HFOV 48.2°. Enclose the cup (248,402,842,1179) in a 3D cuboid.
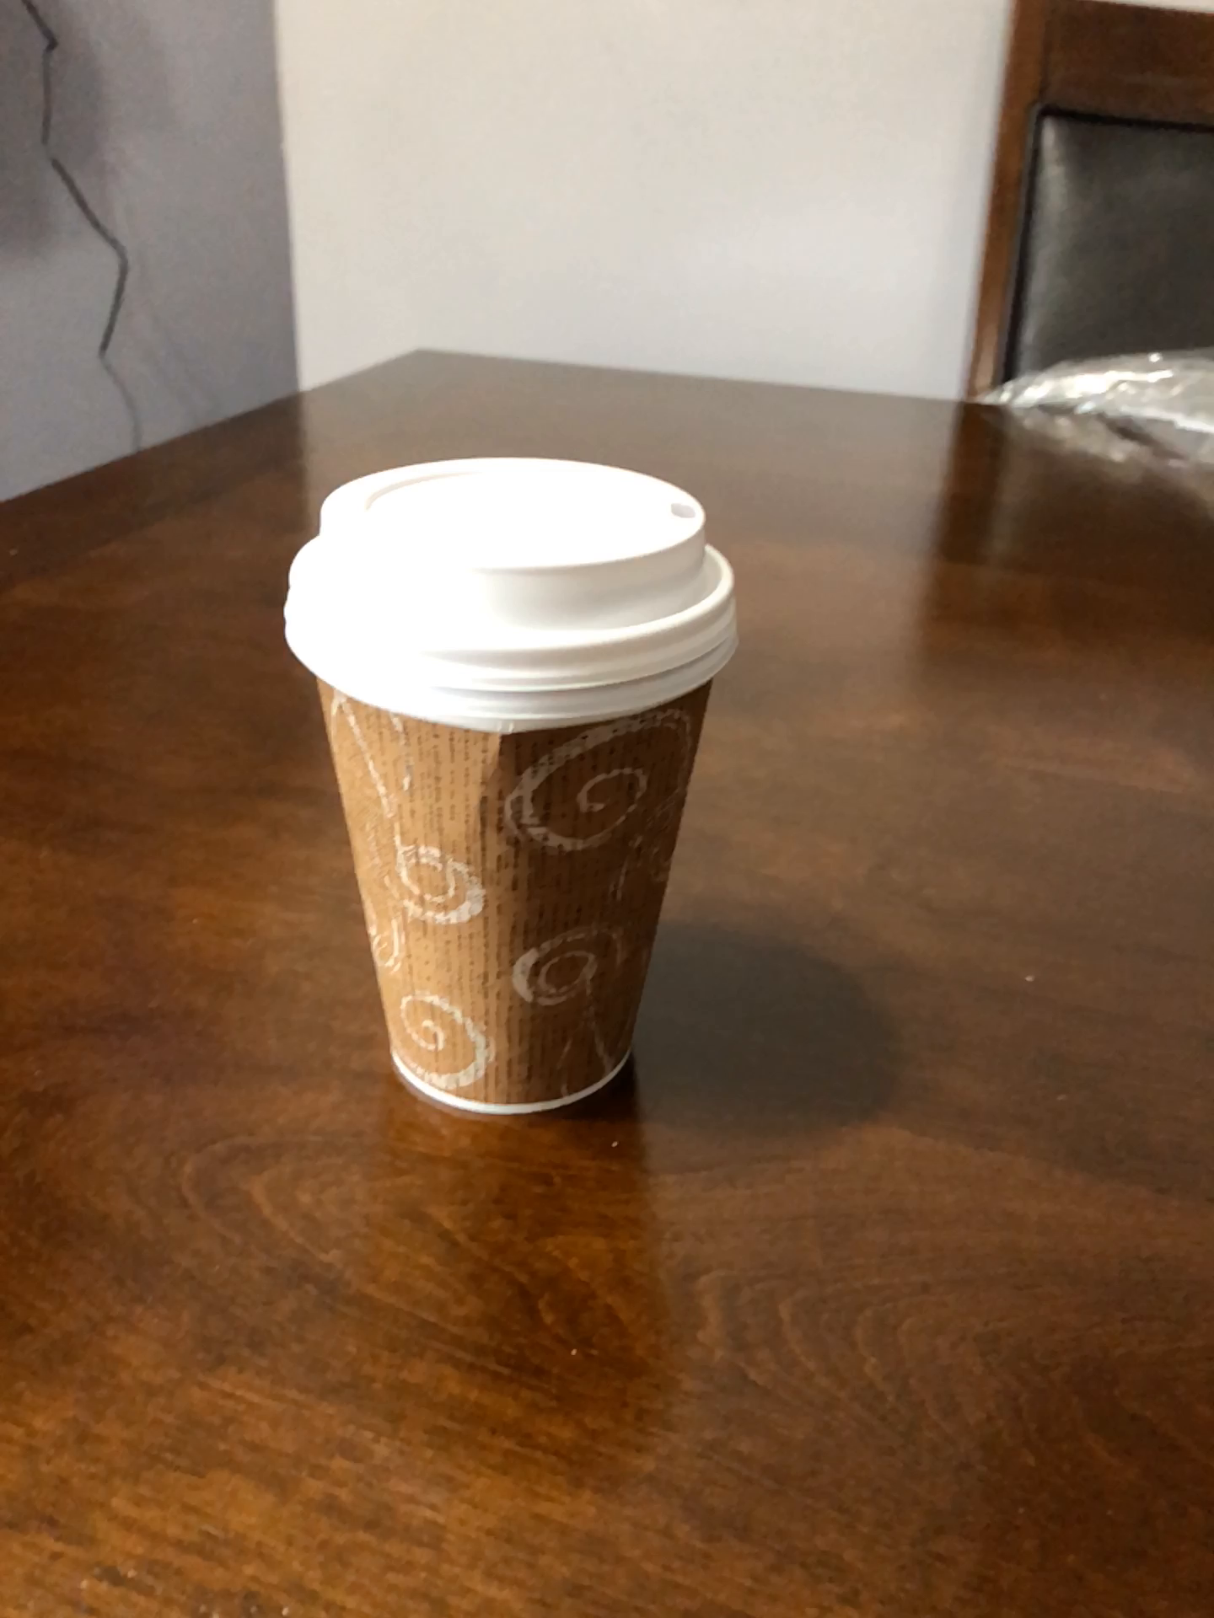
[{"bbox_3d":[-0.016,-0.009,0.232,0.070,0.100,0.080,-8,29,-19],"label":"cup"}]
